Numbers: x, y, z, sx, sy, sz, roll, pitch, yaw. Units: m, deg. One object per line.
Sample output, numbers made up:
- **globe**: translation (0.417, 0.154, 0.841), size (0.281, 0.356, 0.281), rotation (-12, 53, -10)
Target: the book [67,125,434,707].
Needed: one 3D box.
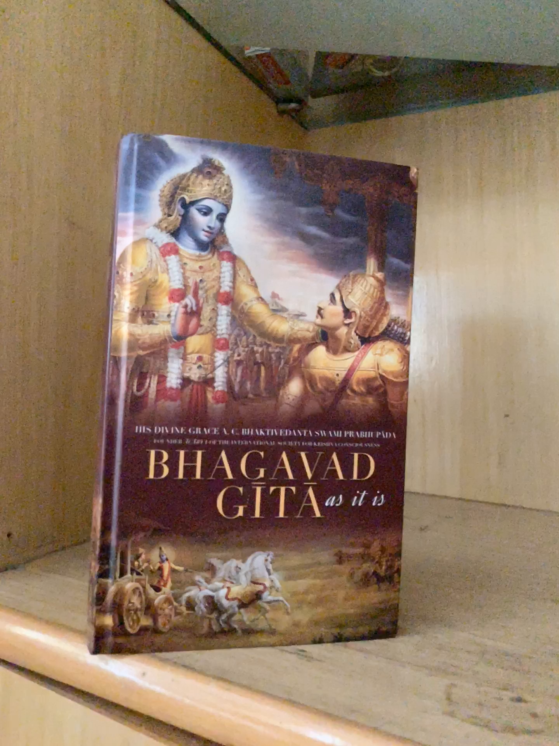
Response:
- **book**: translation (-0.013, 0.018, 0.268), size (0.140, 0.220, 0.070), rotation (3, -2, -12)
